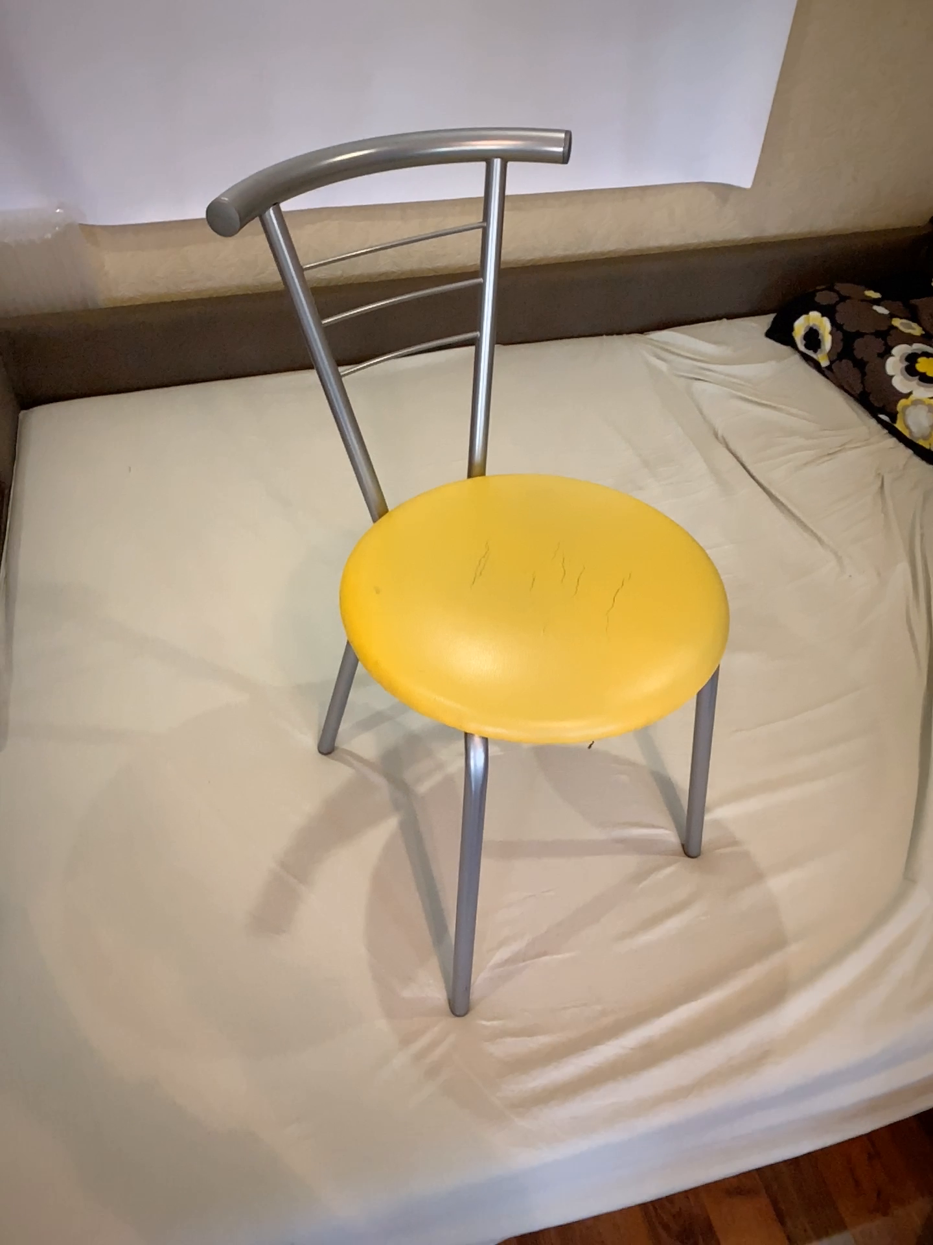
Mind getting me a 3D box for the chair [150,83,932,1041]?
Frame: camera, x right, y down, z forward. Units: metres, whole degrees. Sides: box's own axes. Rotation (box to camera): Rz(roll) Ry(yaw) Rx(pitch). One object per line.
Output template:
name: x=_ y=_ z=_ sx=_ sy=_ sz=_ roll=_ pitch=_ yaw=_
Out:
chair: x=0.053 y=-0.050 z=1.017 sx=0.461 sy=0.763 sz=0.503 roll=-24 pitch=51 yaw=-24
